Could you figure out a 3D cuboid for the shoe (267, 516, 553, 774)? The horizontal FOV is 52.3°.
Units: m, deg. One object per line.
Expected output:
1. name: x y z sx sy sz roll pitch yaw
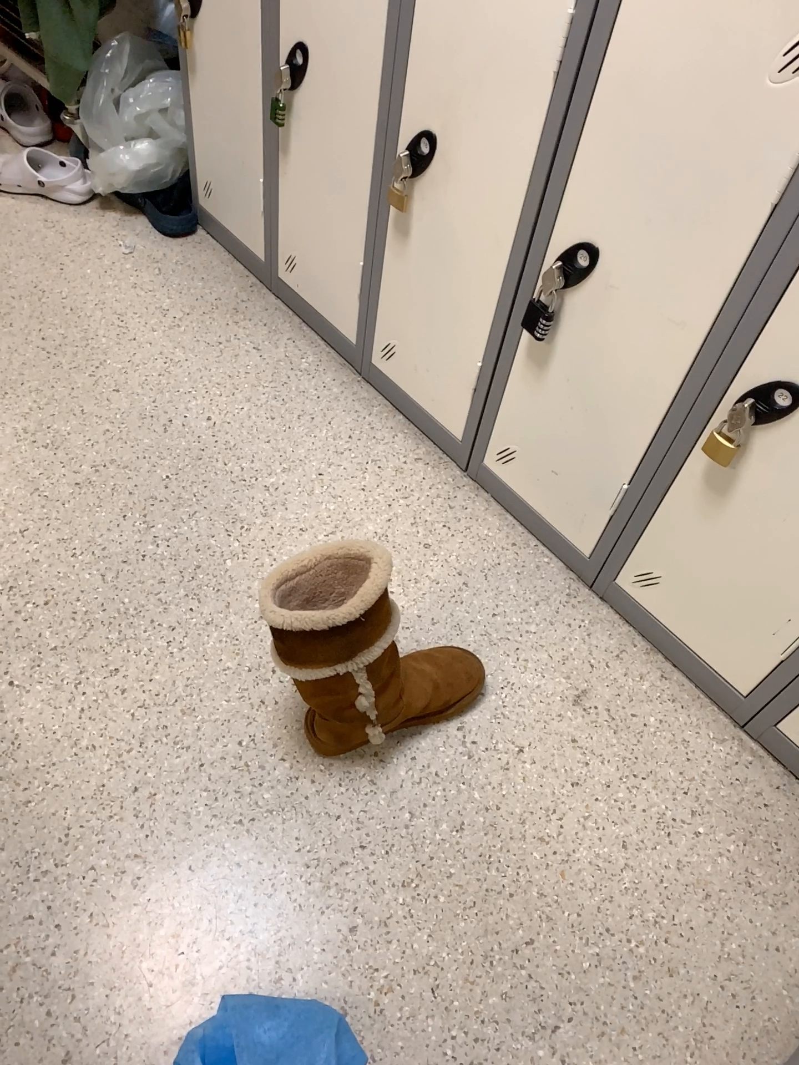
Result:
1. shoe: -0.001 0.147 1.063 0.306 0.244 0.159 -14 56 -19
